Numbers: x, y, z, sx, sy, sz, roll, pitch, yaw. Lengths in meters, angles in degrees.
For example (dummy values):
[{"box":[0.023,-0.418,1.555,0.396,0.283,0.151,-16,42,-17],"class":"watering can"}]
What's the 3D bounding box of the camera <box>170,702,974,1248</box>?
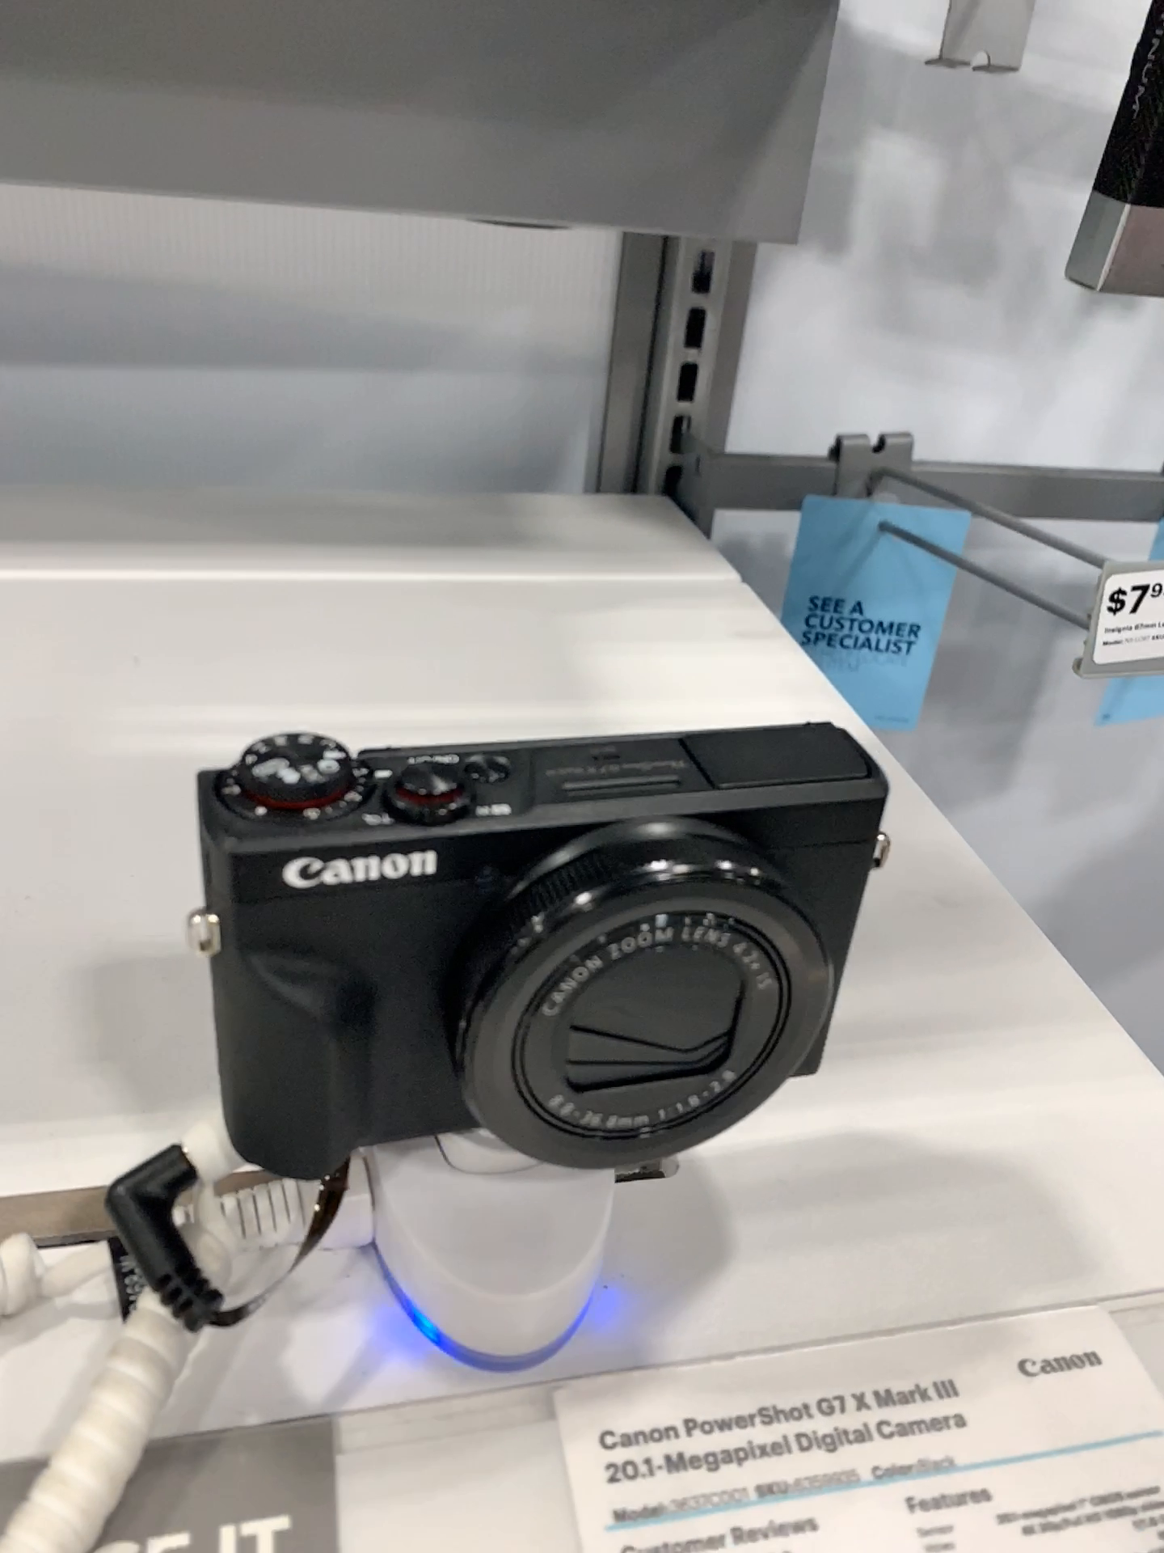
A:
[{"box":[-0.005,0.027,0.189,0.110,0.062,0.040,-3,31,-18],"class":"camera"}]
